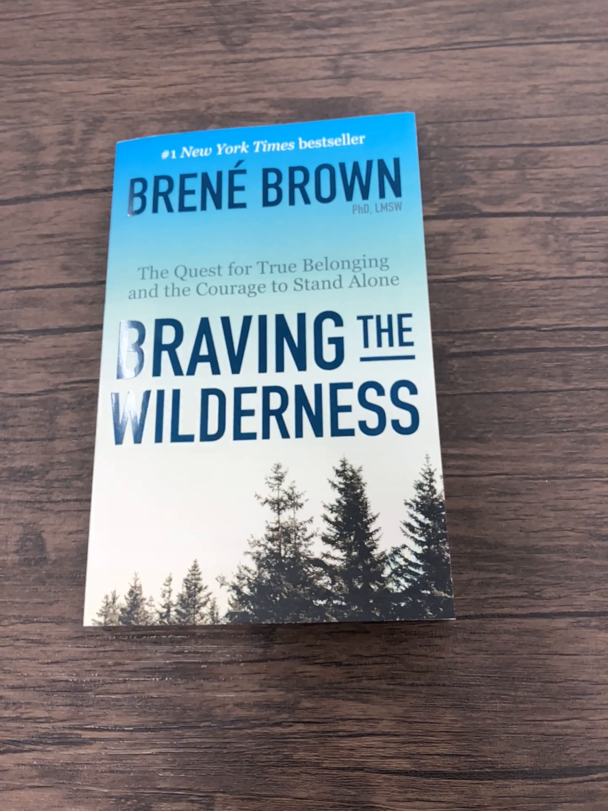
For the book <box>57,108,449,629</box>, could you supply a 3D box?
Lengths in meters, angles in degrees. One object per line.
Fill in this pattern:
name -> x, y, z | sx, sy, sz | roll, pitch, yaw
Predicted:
book -> -0.020, -0.018, 0.258 | 0.130, 0.021, 0.191 | -3, 75, 6
